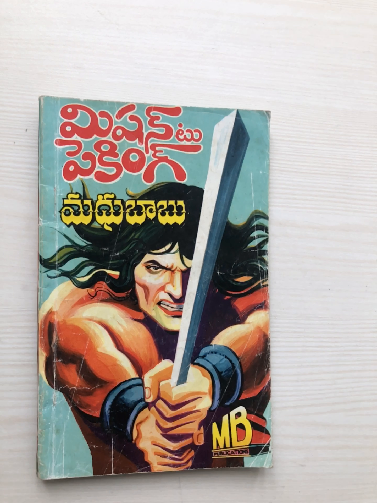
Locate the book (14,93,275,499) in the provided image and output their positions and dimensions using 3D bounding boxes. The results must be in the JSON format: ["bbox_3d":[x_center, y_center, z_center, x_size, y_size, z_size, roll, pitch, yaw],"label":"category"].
[{"bbox_3d":[-0.017,0.016,0.179,0.100,0.030,0.150,0,89,-9],"label":"book"}]
